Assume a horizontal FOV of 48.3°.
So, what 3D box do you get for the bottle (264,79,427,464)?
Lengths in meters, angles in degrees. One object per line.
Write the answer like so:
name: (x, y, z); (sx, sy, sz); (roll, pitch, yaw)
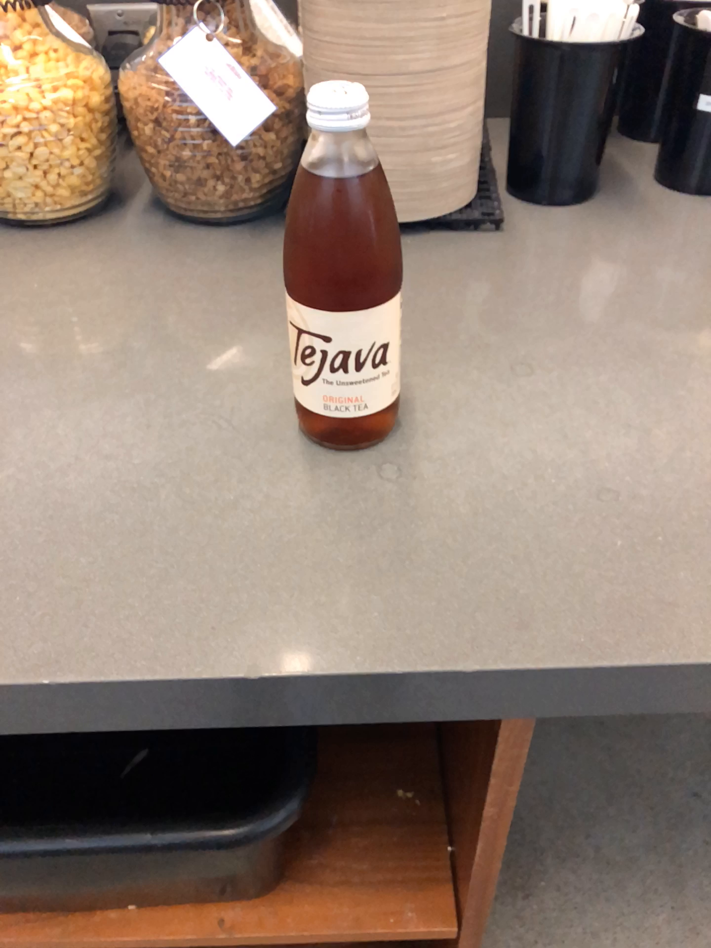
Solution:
bottle: (-0.005, -0.101, 0.429); (0.070, 0.189, 0.070); (0, 41, 0)
